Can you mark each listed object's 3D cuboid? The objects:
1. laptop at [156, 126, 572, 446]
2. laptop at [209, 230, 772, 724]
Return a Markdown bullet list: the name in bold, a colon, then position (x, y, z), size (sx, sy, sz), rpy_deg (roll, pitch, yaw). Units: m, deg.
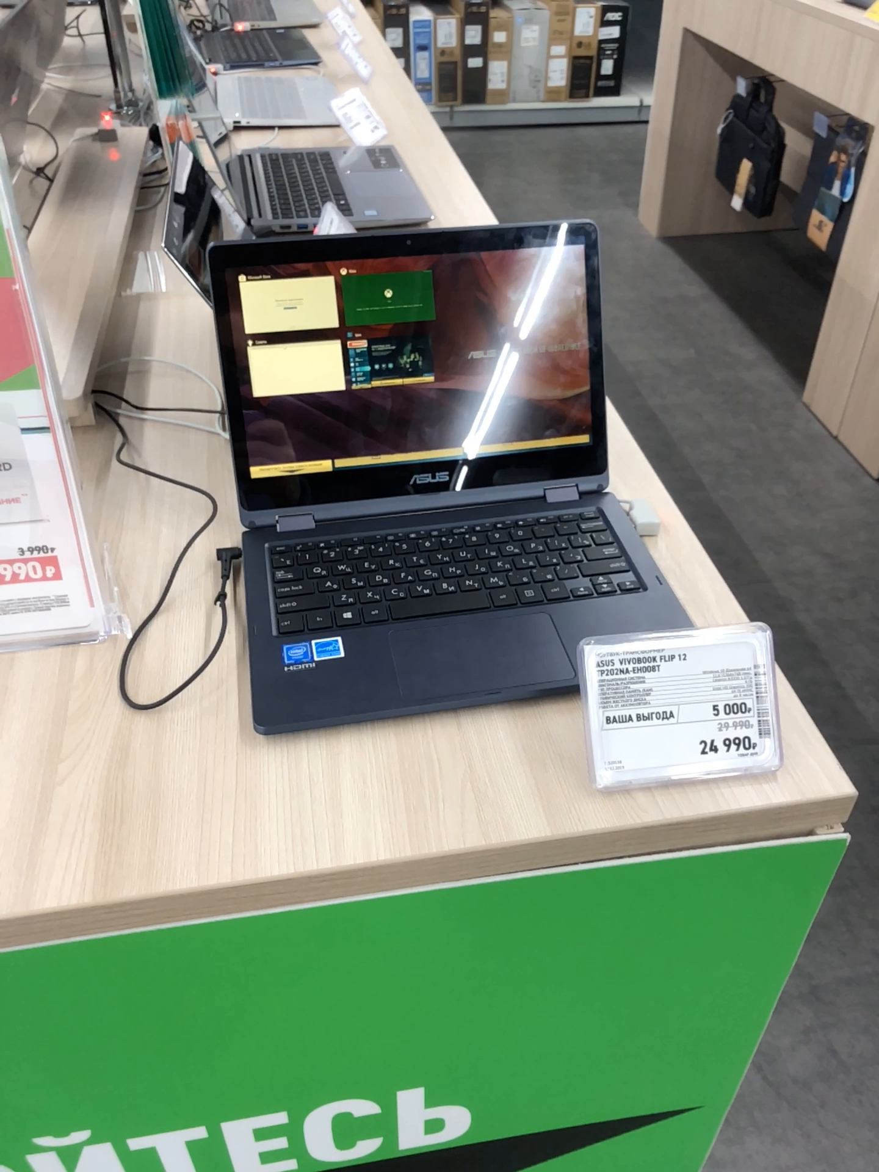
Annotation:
- **laptop**: position (-0.070, -0.273, 0.840), size (0.298, 0.162, 0.263), rpy_deg (-6, 40, -9)
- **laptop**: position (0.005, -0.089, 0.618), size (0.269, 0.166, 0.281), rpy_deg (-7, 39, -10)
